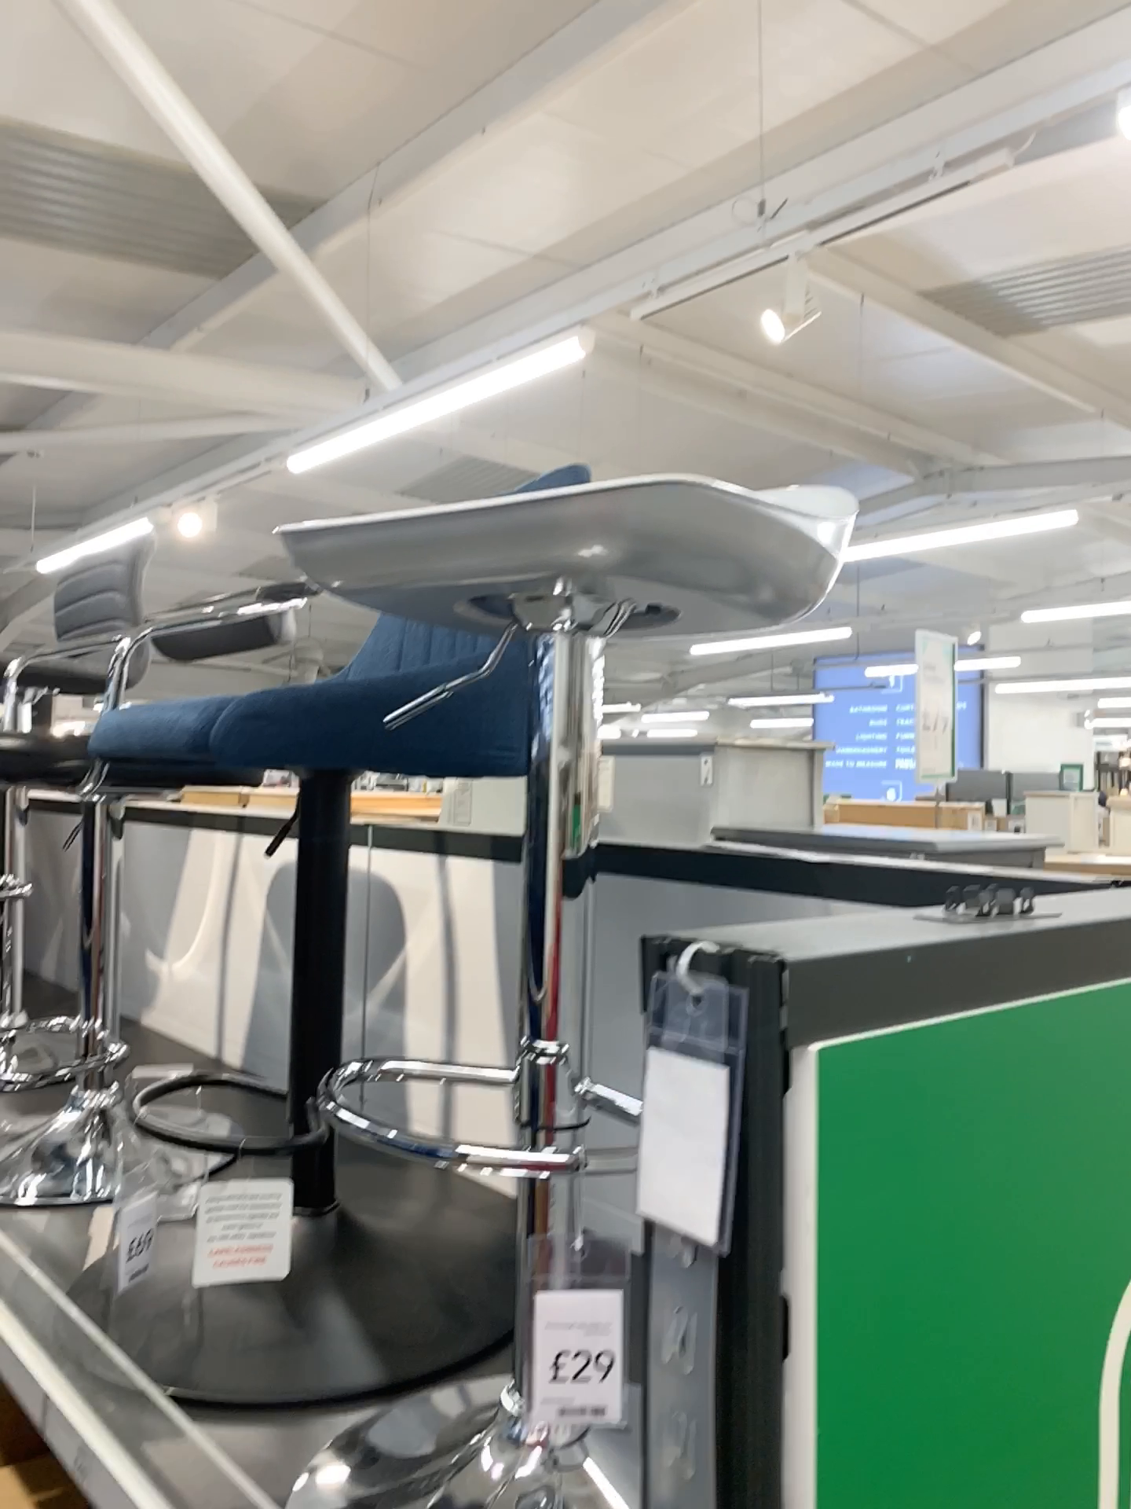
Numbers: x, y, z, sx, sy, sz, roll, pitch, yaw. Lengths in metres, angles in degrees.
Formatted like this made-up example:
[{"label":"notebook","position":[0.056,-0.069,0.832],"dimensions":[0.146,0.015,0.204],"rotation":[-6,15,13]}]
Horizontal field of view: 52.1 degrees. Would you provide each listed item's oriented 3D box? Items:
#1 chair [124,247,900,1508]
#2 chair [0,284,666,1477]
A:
[{"label":"chair","position":[-0.027,0.139,0.877],"dimensions":[0.402,0.804,0.402],"rotation":[-1,-3,40]},{"label":"chair","position":[-0.262,0.091,1.219],"dimensions":[0.532,0.884,0.482],"rotation":[-1,-3,45]}]
